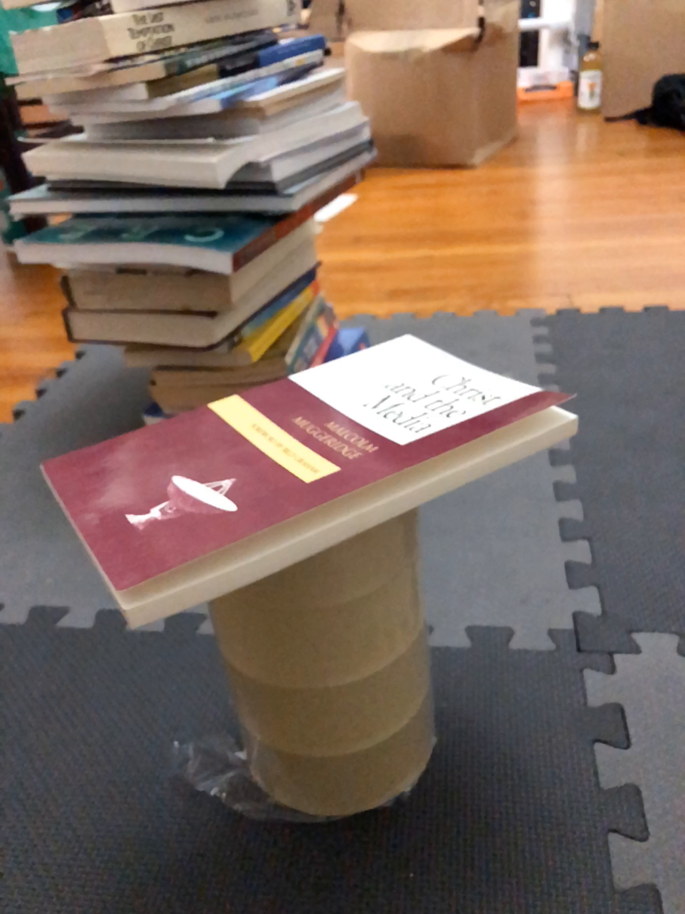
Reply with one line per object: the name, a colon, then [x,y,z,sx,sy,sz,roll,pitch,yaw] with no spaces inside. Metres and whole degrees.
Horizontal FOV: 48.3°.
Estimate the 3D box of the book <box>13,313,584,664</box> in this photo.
book: [-0.021,-0.007,0.339,0.210,0.020,0.141,-24,35,-25]
